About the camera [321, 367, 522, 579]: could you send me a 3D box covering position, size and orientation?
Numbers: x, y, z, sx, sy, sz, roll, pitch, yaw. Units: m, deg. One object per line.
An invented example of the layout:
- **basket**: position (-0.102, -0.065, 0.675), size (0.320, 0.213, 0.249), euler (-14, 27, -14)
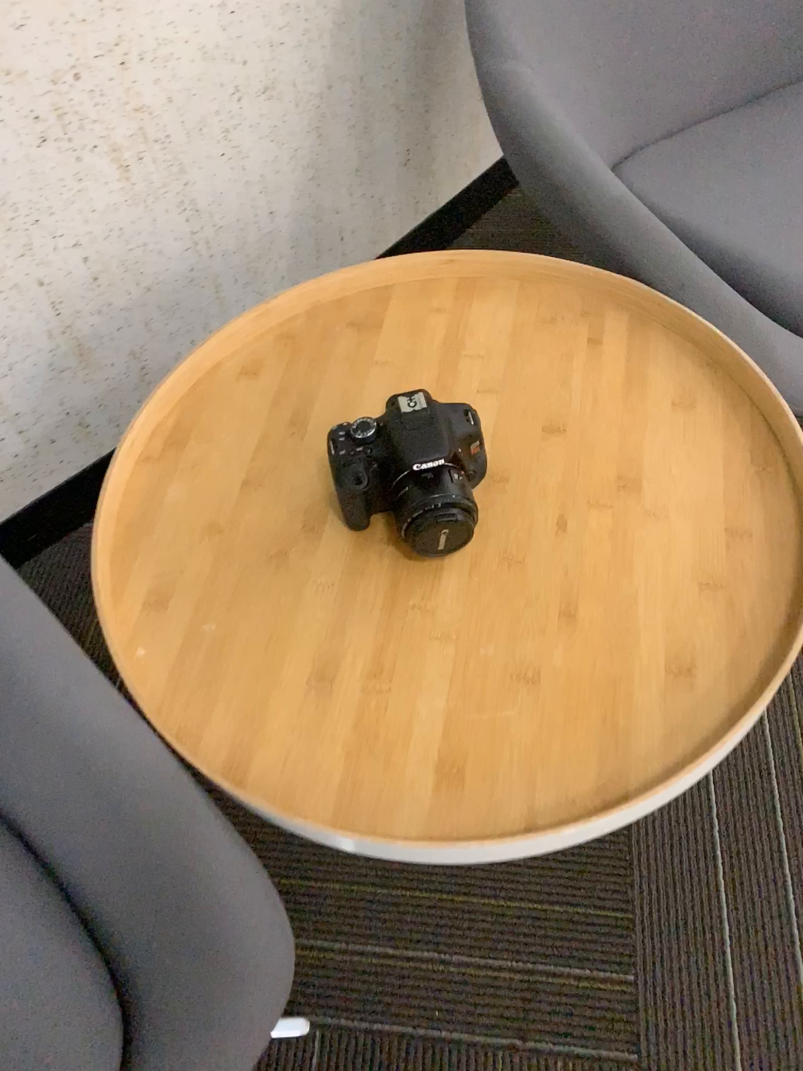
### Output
- **camera**: position (0.015, -0.050, 0.668), size (0.134, 0.090, 0.119), euler (-11, 56, -2)
